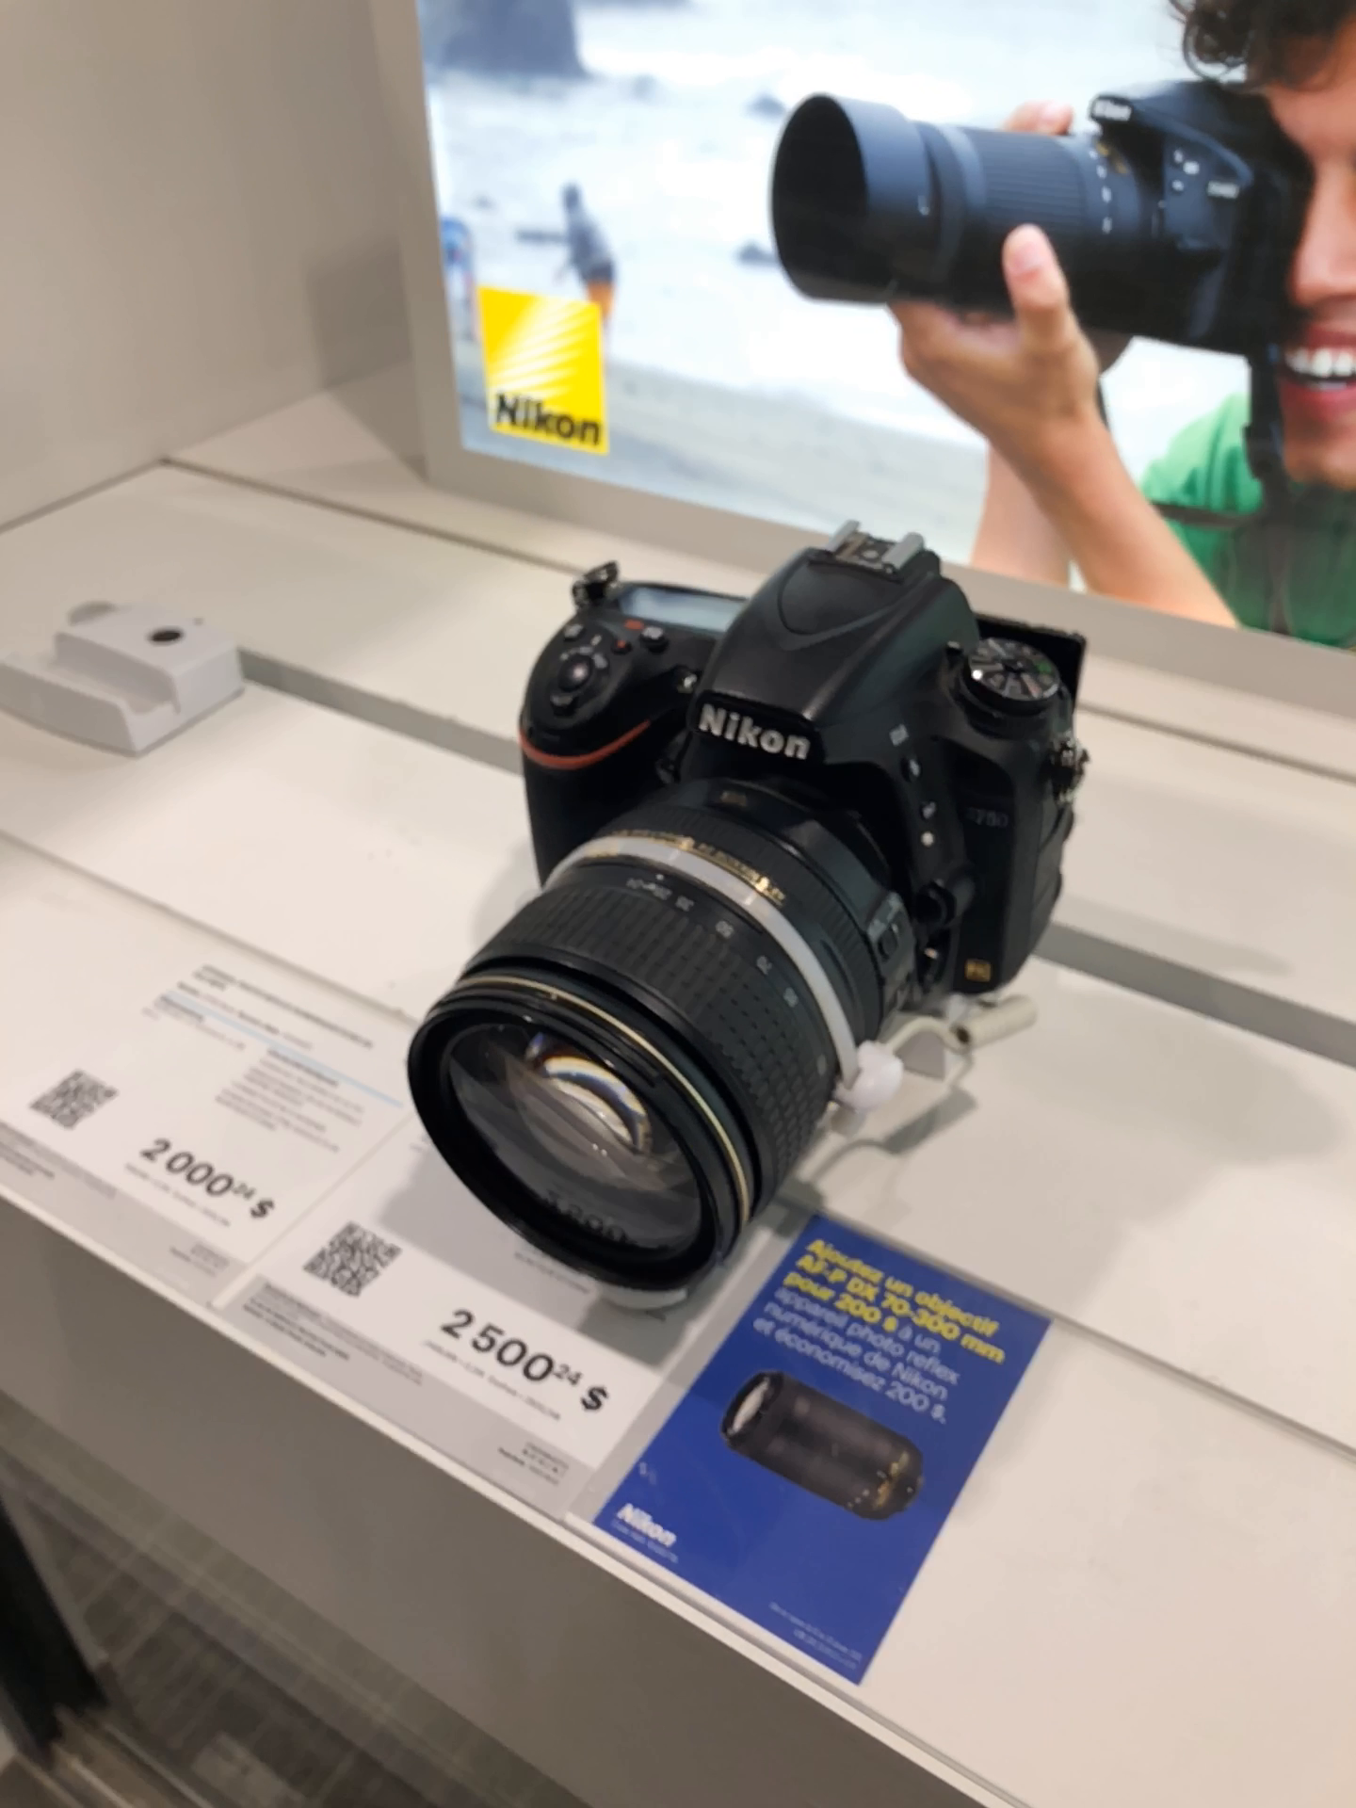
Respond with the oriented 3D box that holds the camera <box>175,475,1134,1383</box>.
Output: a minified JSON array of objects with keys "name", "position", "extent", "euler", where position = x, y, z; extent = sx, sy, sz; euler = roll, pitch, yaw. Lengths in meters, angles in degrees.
[{"name":"camera","position":[0.007,-0.013,0.363],"extent":[0.138,0.099,0.184],"euler":[18,41,24]}]
